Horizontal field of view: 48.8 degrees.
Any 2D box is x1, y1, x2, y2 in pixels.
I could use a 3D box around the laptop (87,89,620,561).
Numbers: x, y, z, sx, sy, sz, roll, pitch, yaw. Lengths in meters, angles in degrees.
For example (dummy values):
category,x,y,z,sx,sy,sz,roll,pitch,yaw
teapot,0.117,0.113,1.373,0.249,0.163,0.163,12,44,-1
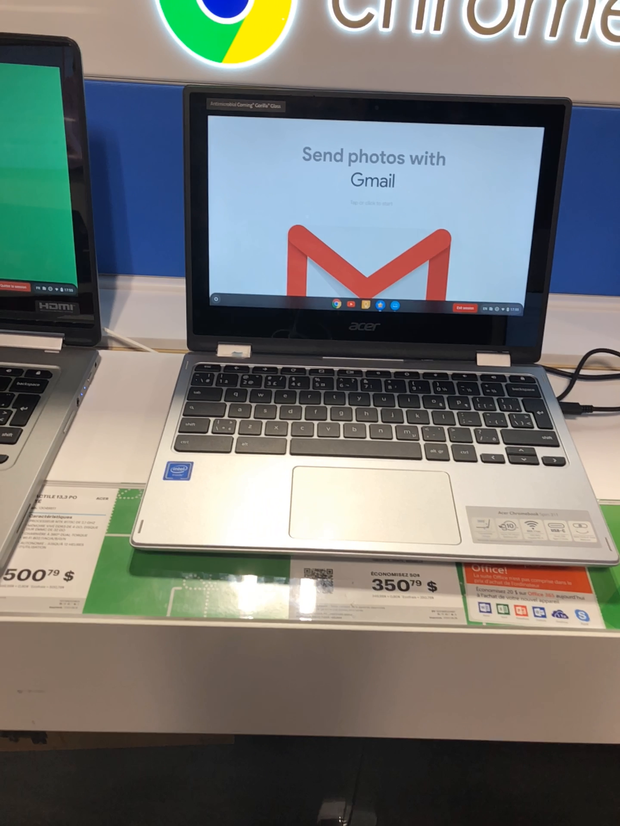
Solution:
category,x,y,z,sx,sy,sz,roll,pitch,yaw
laptop,0.046,-0.074,0.452,0.284,0.181,0.274,2,39,-1
